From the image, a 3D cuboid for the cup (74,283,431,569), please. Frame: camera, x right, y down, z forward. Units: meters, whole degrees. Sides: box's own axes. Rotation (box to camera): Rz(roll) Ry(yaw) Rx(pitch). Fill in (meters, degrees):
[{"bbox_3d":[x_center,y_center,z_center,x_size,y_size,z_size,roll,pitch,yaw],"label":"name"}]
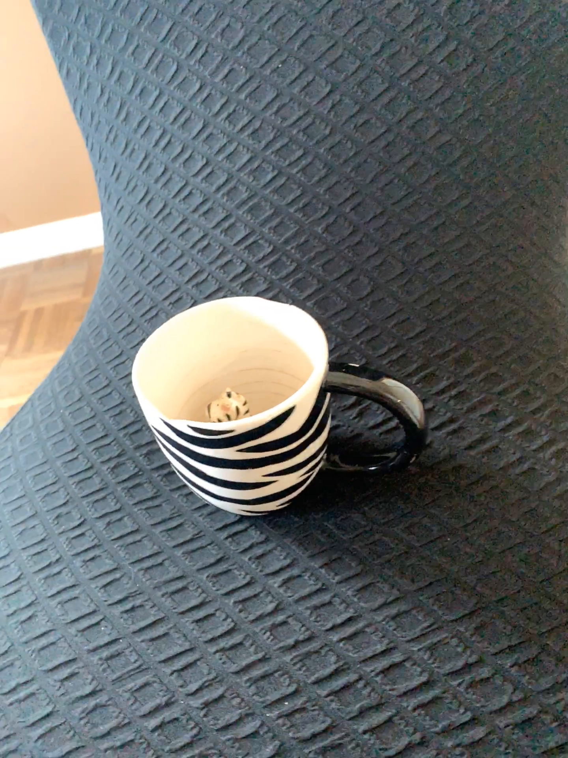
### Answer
[{"bbox_3d":[-0.007,0.019,0.292,0.140,0.090,0.080,9,50,22],"label":"cup"}]
